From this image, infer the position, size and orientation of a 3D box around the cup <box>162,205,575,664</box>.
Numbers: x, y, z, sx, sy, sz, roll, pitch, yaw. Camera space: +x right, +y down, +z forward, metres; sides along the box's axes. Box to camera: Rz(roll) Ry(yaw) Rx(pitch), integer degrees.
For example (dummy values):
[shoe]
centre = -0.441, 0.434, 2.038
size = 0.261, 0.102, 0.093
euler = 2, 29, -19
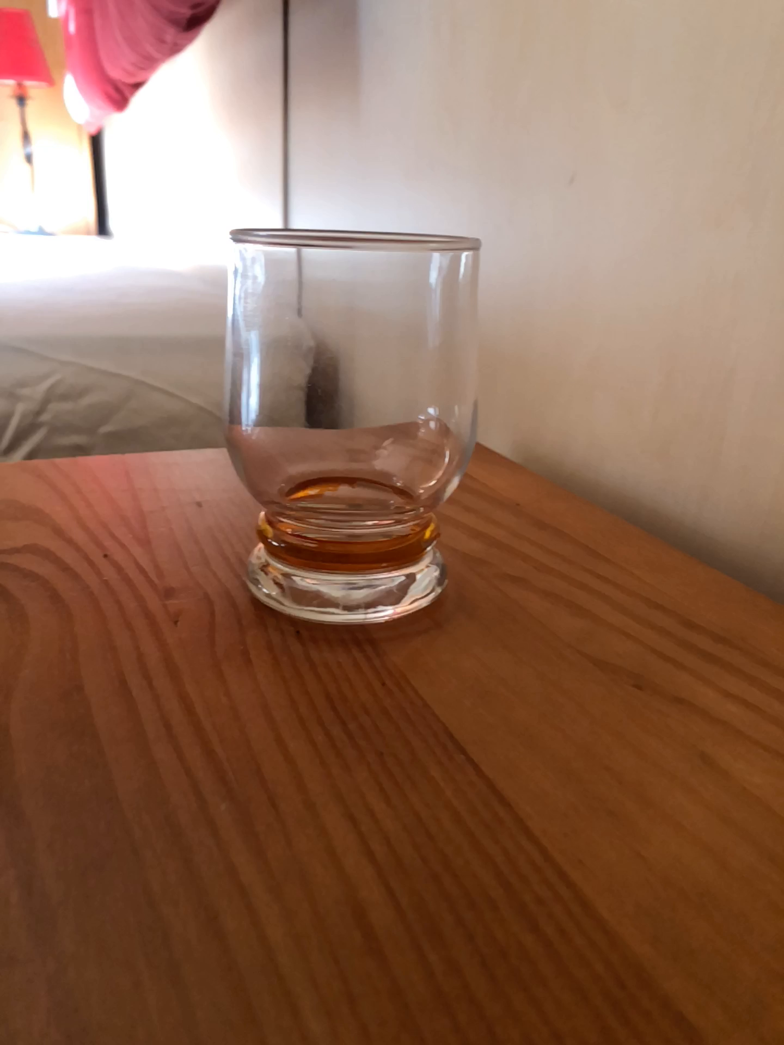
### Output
[cup]
centre = -0.008, -0.032, 0.239
size = 0.076, 0.100, 0.073
euler = 3, 20, -1
